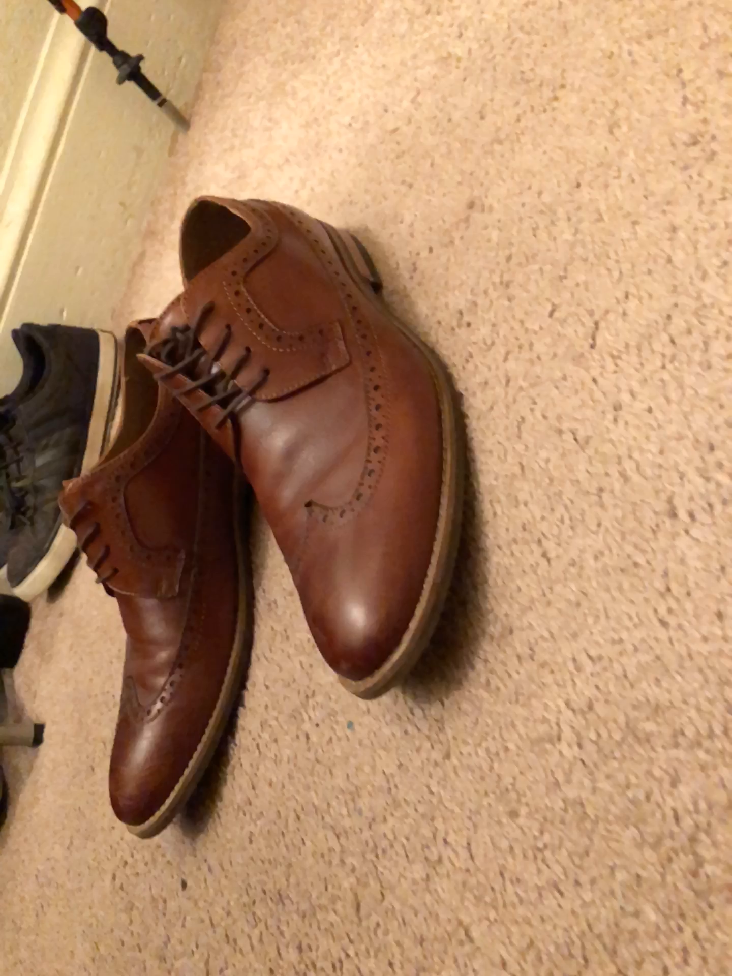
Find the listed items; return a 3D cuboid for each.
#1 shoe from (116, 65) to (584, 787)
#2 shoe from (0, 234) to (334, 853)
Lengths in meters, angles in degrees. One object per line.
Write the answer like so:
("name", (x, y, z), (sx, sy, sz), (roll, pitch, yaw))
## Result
("shoe", (-0.032, -0.043, 0.371), (0.115, 0.114, 0.311), (-47, 40, 35))
("shoe", (-0.119, 0.033, 0.475), (0.115, 0.114, 0.310), (-15, 63, 54))
